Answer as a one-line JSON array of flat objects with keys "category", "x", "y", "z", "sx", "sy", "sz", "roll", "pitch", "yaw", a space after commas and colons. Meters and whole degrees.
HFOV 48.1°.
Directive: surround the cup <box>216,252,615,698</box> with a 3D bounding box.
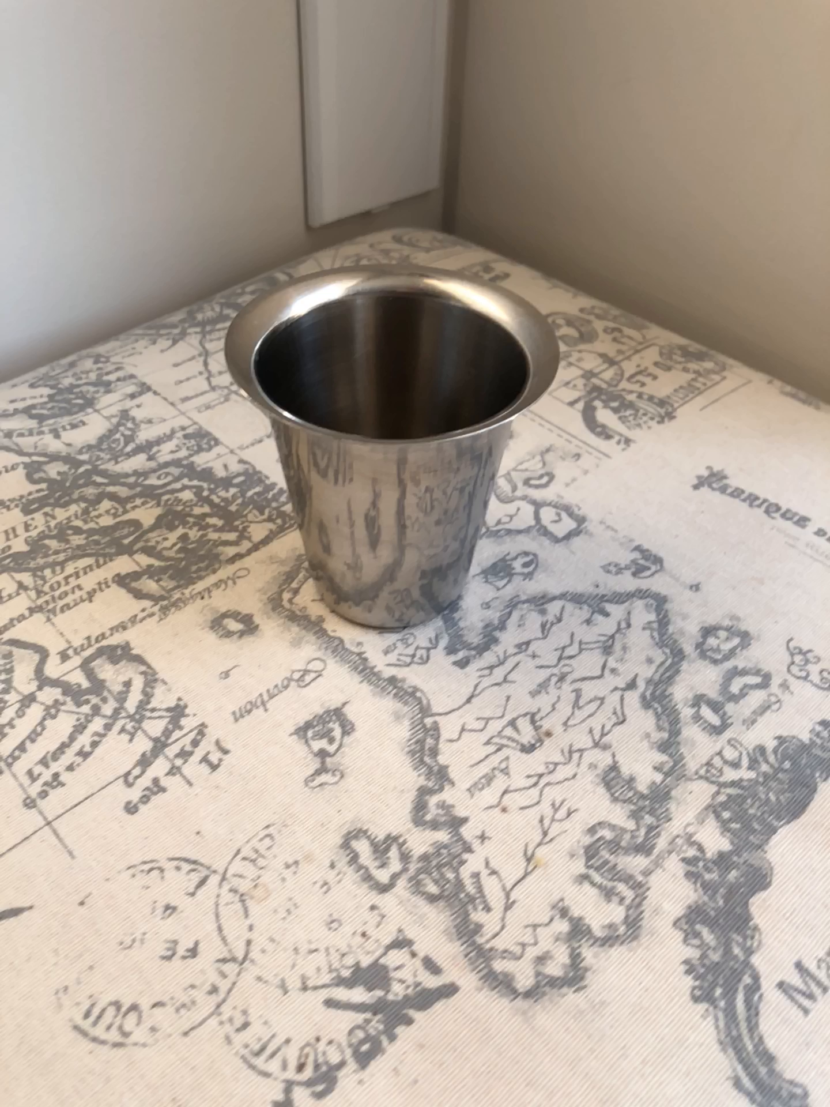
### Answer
[{"category": "cup", "x": -0.004, "y": -0.023, "z": 0.246, "sx": 0.081, "sy": 0.081, "sz": 0.084, "roll": 2, "pitch": 42, "yaw": -2}]
